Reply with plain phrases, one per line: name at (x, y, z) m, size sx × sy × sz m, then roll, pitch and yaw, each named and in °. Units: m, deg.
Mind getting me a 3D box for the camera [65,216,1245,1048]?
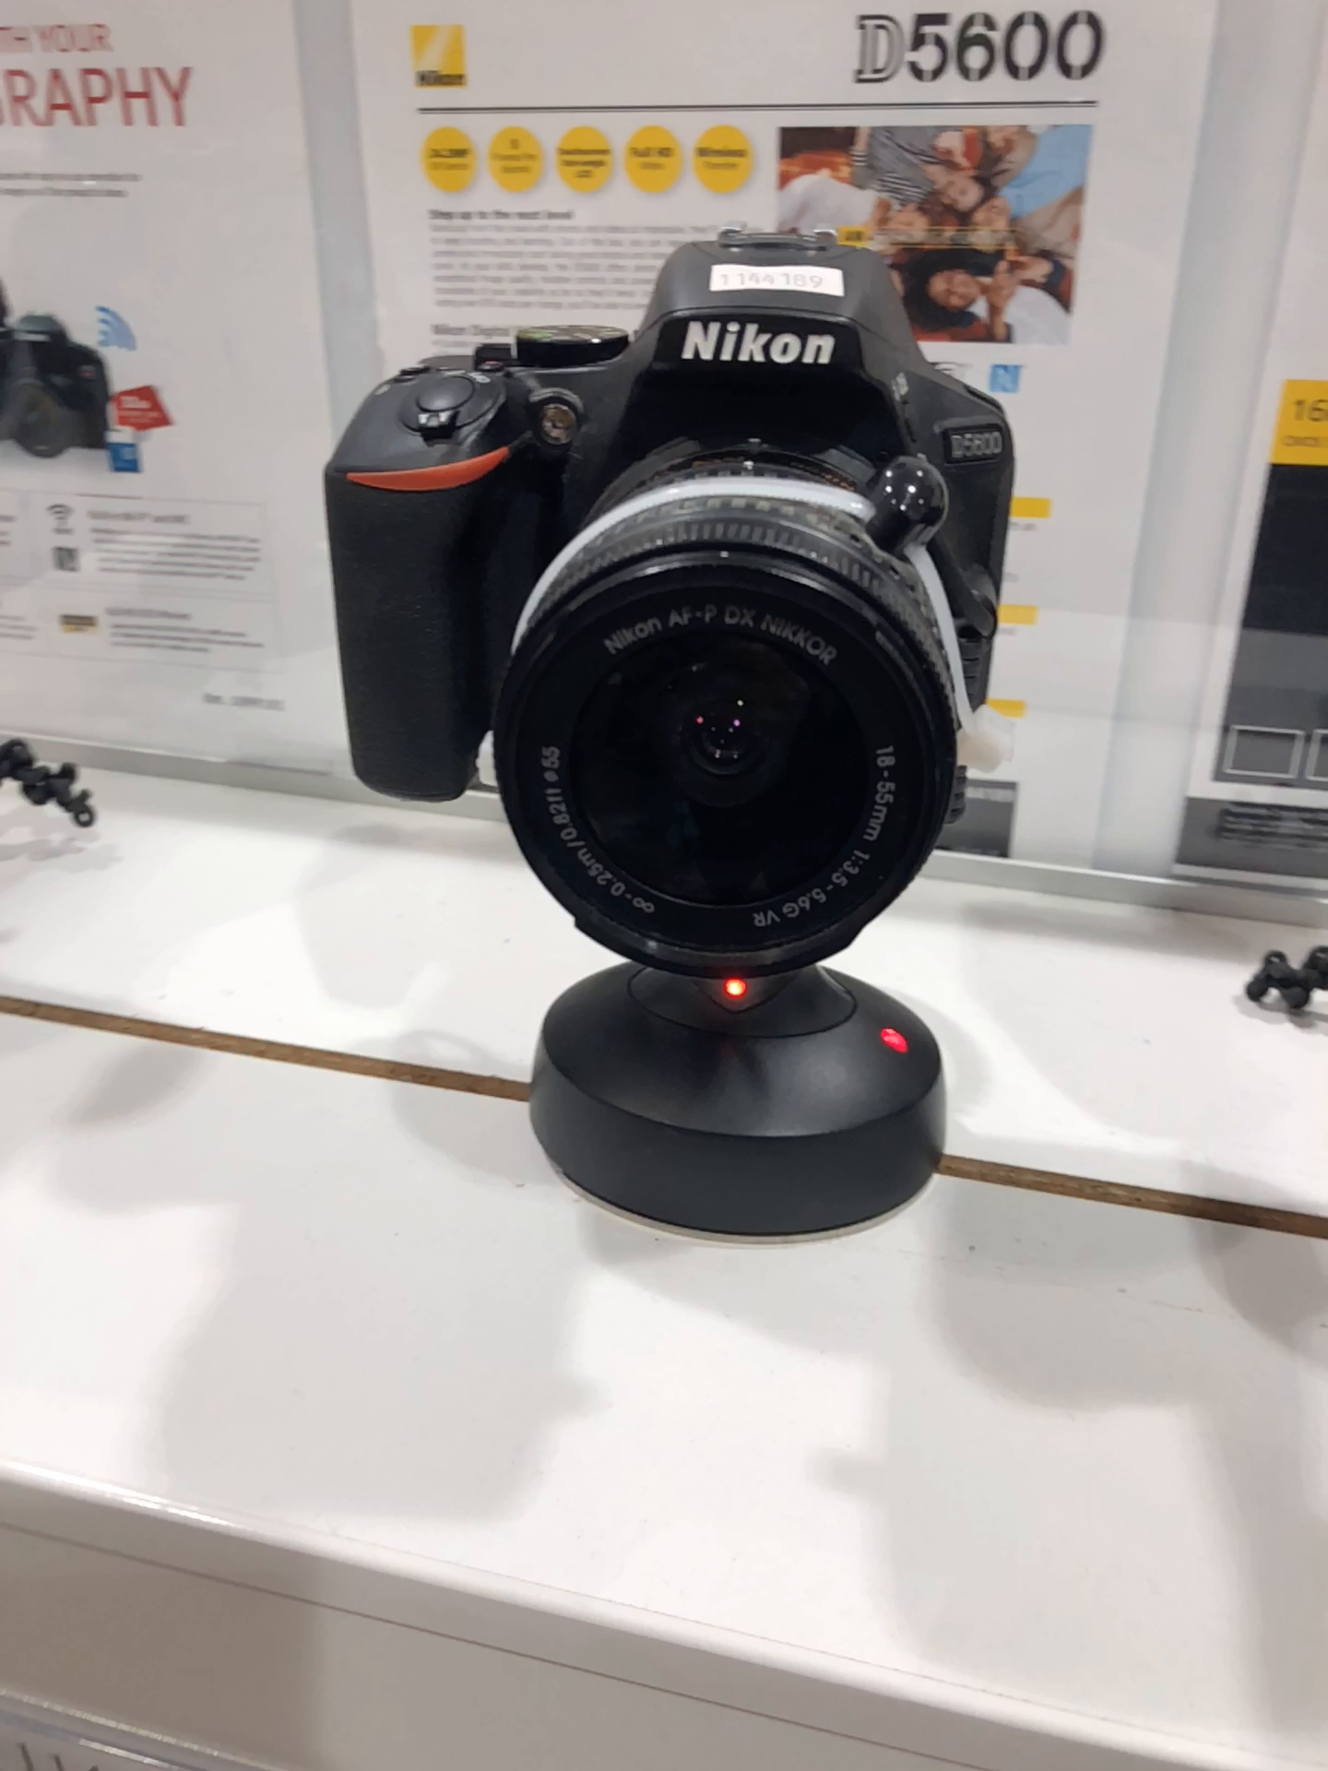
camera at (0.003, -0.055, 0.245) m, size 0.130 × 0.090 × 0.141 m, roll 4°, pitch 28°, yaw 4°
